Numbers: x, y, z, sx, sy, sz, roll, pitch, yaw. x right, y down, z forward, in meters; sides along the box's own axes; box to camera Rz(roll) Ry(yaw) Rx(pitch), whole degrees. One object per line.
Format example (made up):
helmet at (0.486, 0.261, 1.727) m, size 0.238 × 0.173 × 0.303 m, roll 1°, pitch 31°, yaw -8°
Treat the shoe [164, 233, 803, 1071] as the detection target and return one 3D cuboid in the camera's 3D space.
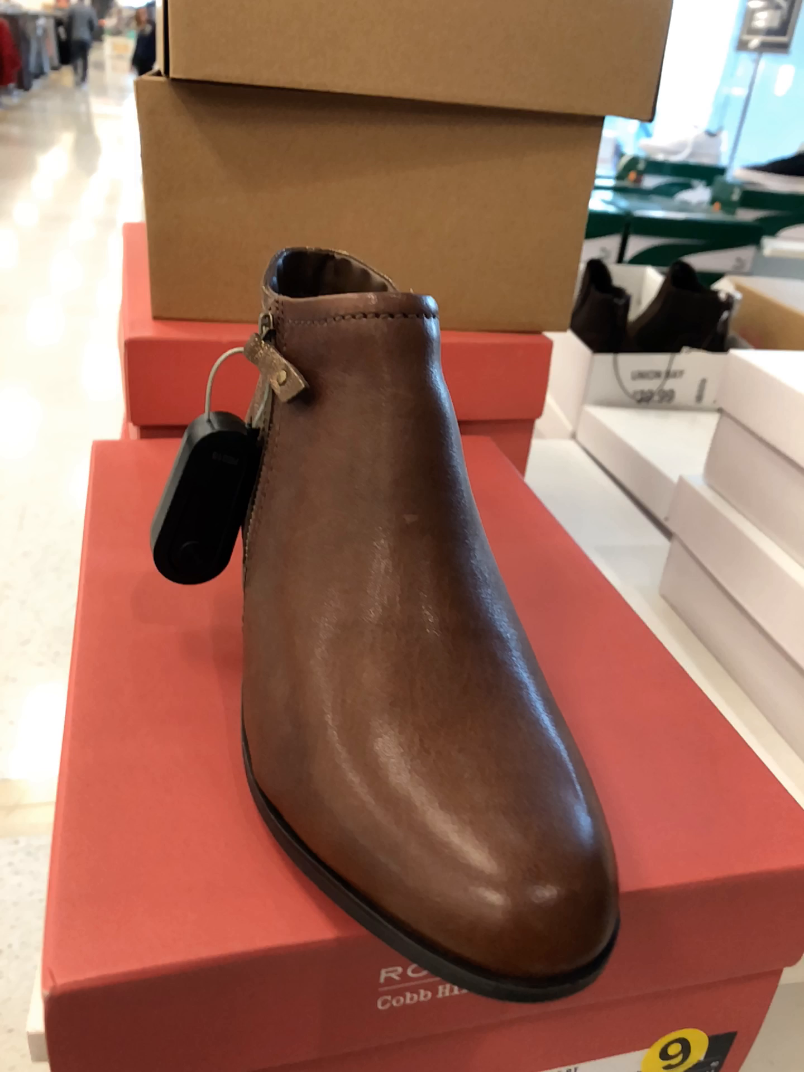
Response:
shoe at (-0.008, -0.004, 0.283) m, size 0.101 × 0.119 × 0.282 m, roll -4°, pitch 30°, yaw -19°
